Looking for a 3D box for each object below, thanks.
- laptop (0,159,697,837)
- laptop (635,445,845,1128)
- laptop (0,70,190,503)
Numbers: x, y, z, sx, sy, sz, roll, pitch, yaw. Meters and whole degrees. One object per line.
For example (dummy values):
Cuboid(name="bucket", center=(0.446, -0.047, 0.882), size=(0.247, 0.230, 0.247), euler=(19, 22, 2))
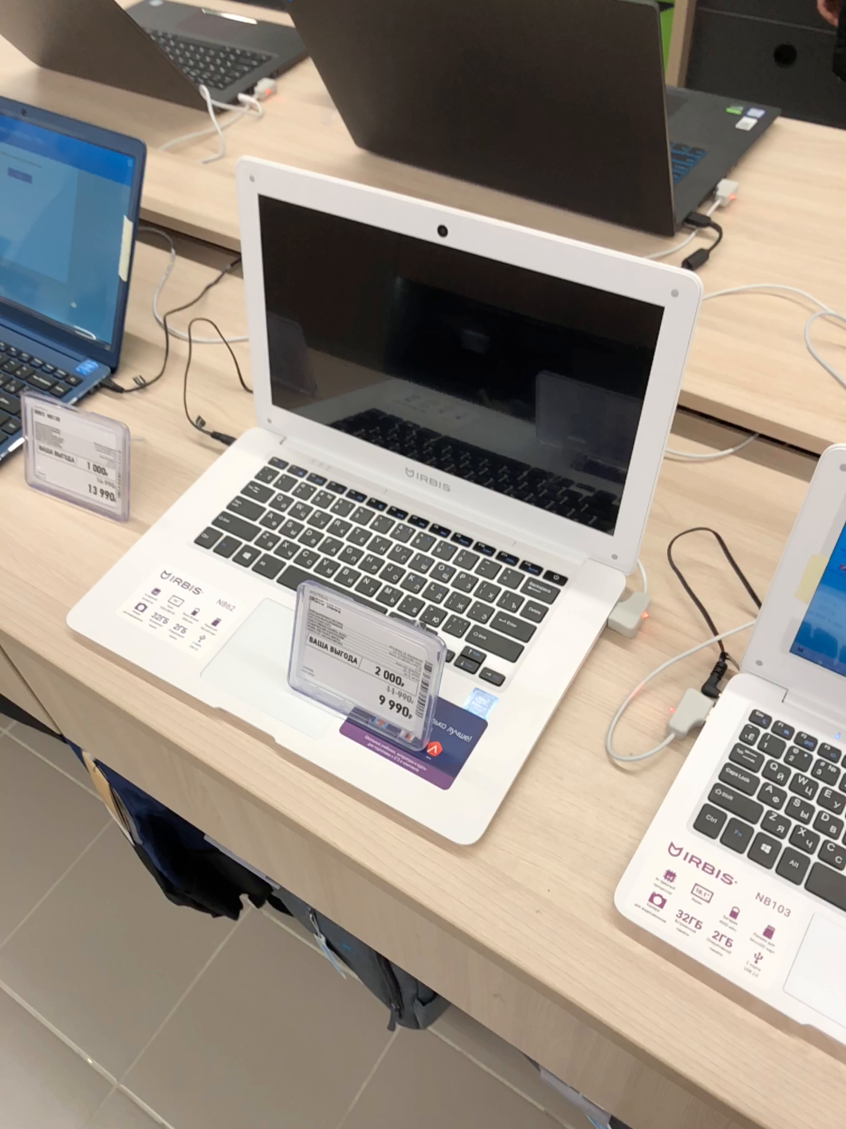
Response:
Cuboid(name="laptop", center=(-0.051, -0.062, 0.606), size=(0.334, 0.207, 0.279), euler=(23, 57, 22))
Cuboid(name="laptop", center=(0.275, 0.114, 0.455), size=(0.260, 0.167, 0.221), euler=(25, 57, 25))
Cuboid(name="laptop", center=(-0.444, -0.267, 0.837), size=(0.298, 0.158, 0.311), euler=(26, 58, 23))
